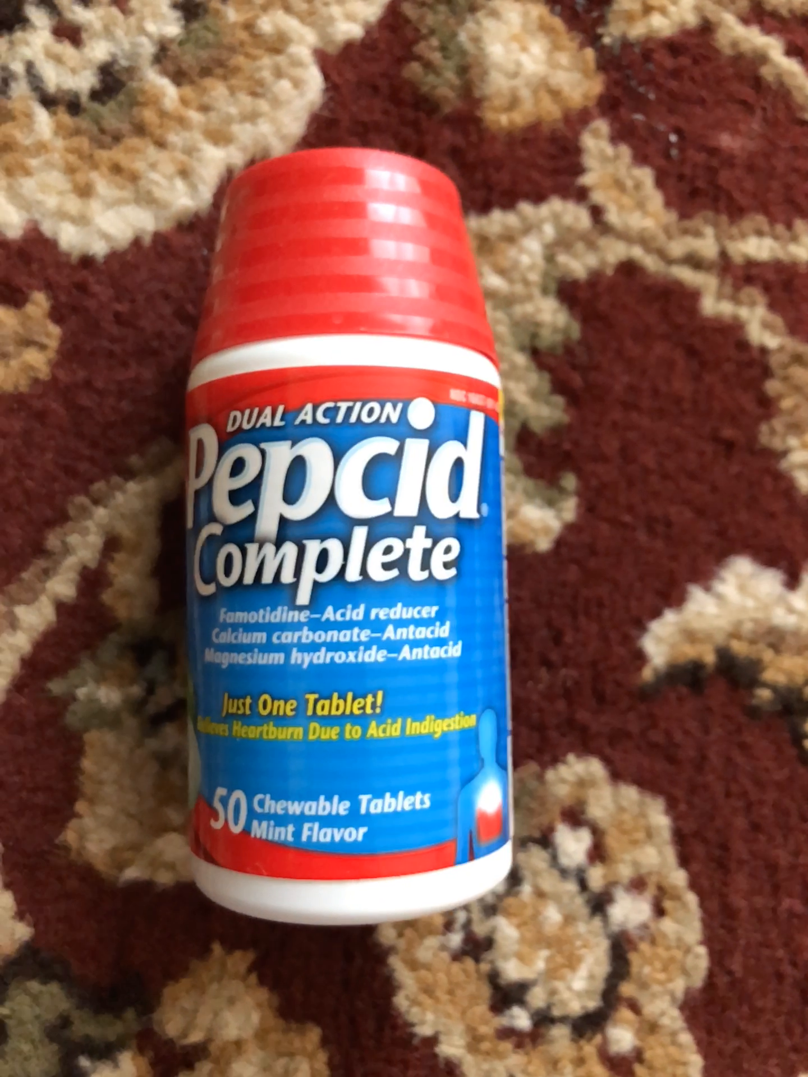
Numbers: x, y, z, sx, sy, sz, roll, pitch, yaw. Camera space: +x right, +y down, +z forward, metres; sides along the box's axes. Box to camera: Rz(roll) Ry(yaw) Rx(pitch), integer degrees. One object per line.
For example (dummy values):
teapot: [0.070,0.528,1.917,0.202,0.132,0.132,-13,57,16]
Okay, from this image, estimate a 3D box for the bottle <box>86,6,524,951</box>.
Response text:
bottle: [-0.012,-0.008,0.161,0.060,0.060,0.130,-1,87,10]
